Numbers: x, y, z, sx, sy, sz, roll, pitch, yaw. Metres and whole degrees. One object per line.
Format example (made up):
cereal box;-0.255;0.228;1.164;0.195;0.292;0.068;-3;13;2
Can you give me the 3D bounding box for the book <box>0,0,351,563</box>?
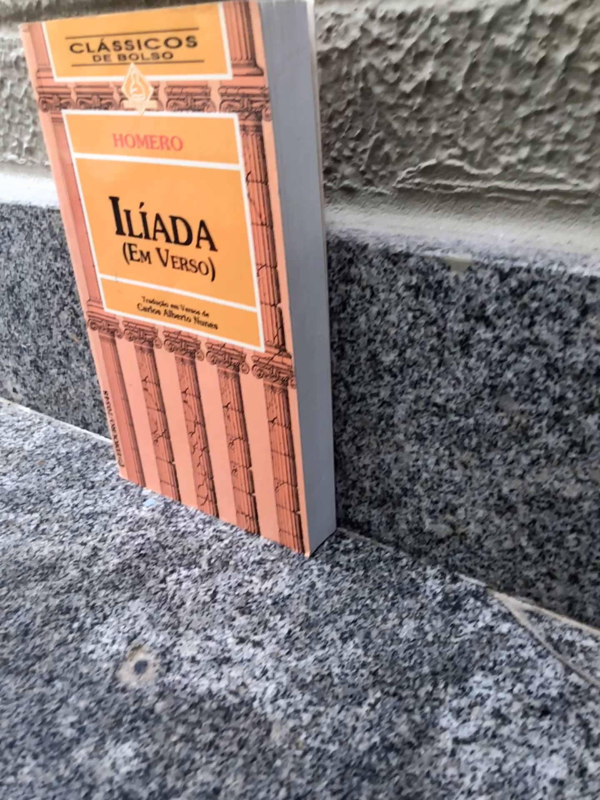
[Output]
book;-0.049;-0.046;0.291;0.139;0.218;0.030;16;35;32
